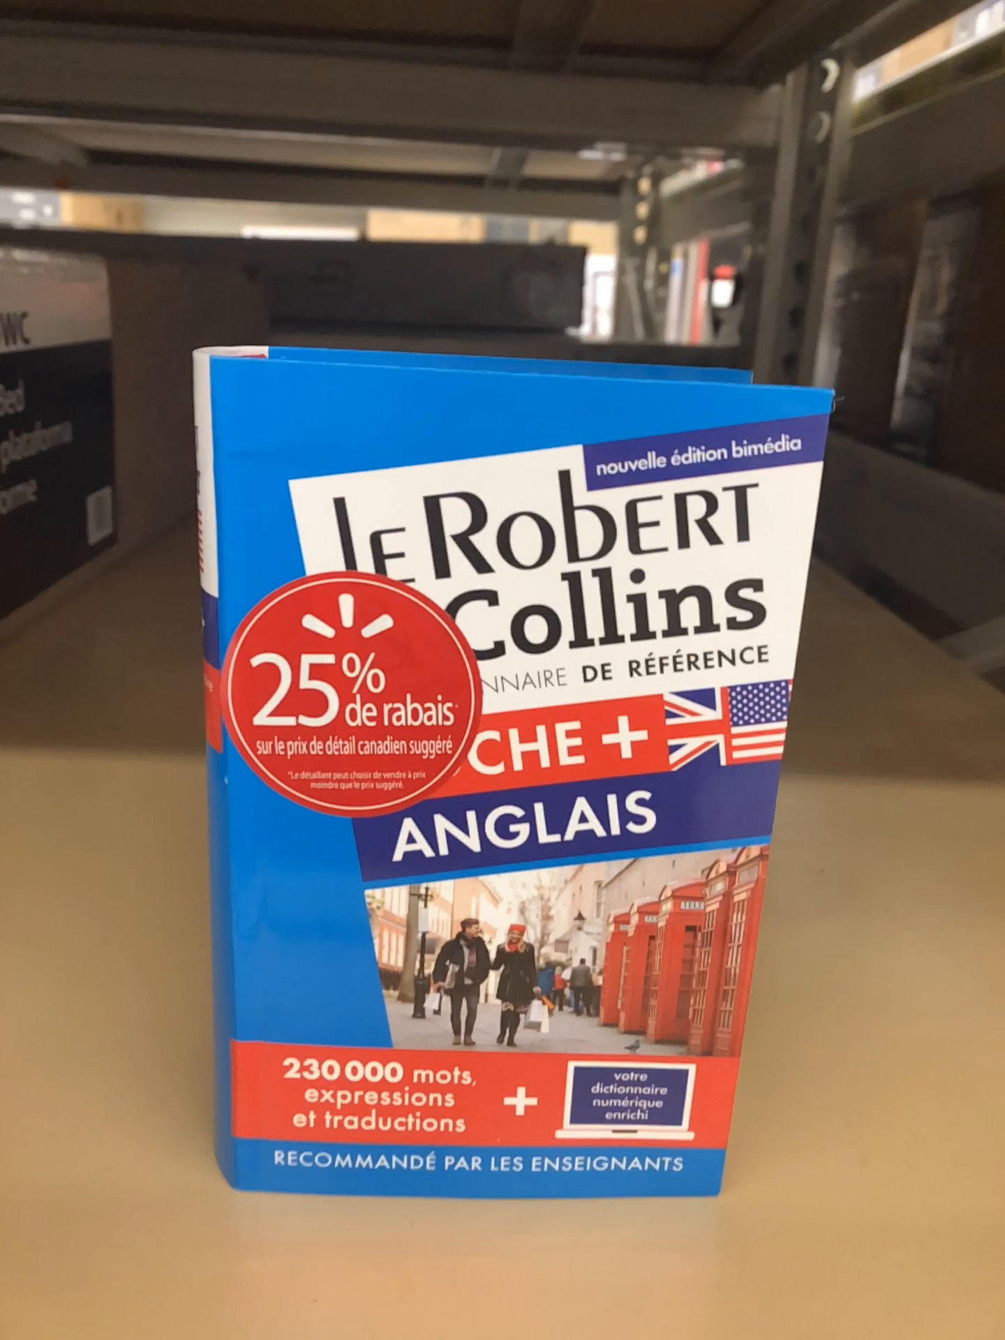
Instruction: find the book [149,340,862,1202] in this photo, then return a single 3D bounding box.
[{"bbox_3d":[-0.004,0.023,0.244,0.120,0.173,0.059,2,19,-3],"label":"book"}]
